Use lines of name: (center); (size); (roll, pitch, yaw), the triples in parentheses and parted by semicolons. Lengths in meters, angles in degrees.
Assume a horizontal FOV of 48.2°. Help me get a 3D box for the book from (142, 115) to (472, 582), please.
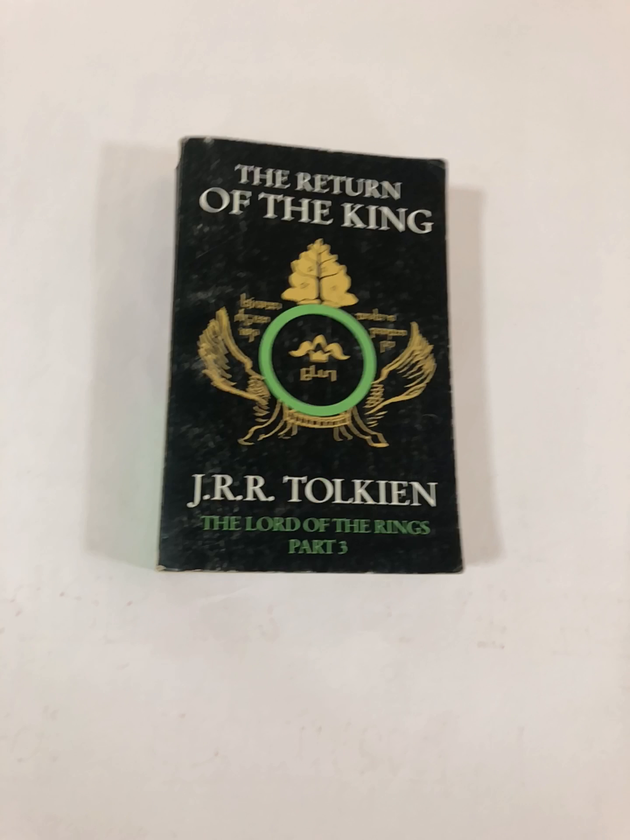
book: (-0.004, -0.030, 0.317); (0.130, 0.040, 0.200); (3, 75, -10)
